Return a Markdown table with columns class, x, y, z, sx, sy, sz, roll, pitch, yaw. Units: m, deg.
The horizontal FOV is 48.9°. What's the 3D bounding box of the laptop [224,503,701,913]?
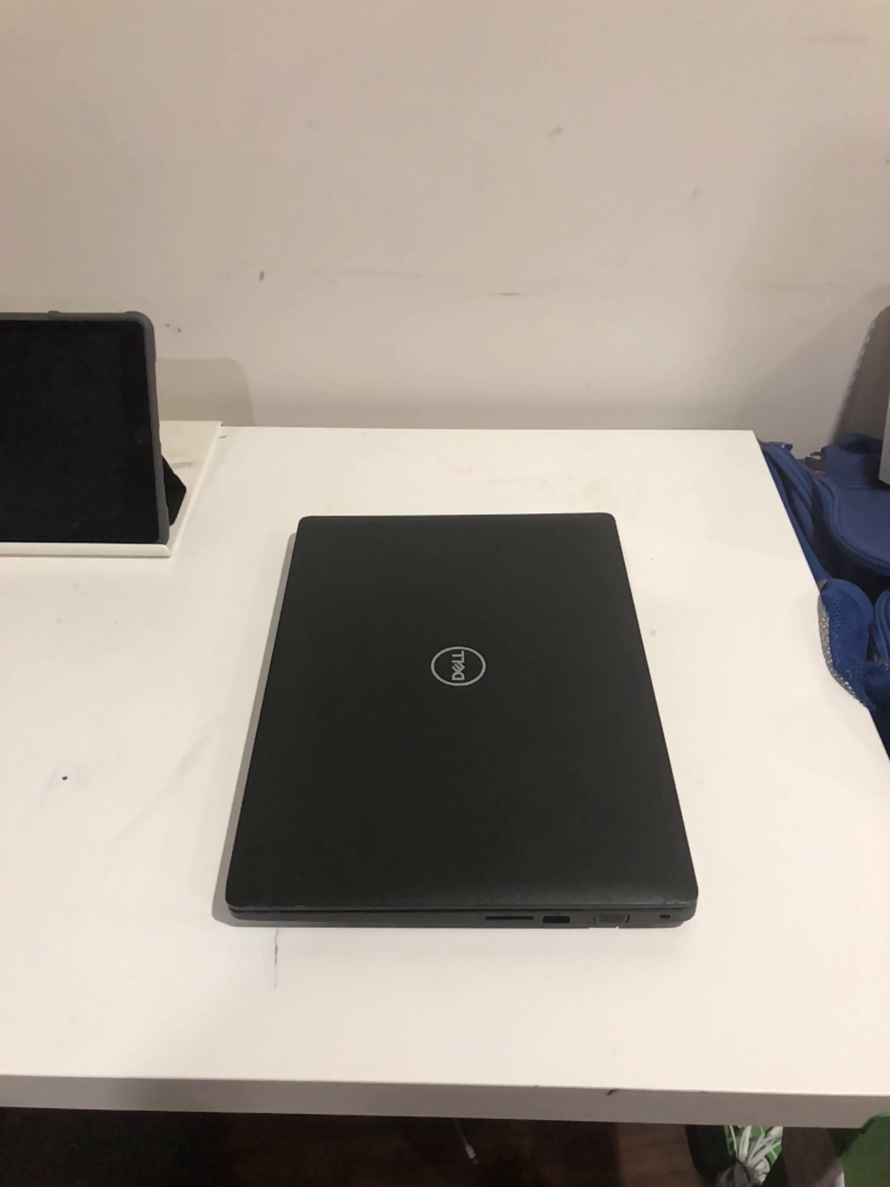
| class | x | y | z | sx | sy | sz | roll | pitch | yaw |
| --- | --- | --- | --- | --- | --- | --- | --- | --- | --- |
| laptop | 0.008 | 0.048 | 0.622 | 0.241 | 0.010 | 0.334 | -2 | 41 | 3 |
